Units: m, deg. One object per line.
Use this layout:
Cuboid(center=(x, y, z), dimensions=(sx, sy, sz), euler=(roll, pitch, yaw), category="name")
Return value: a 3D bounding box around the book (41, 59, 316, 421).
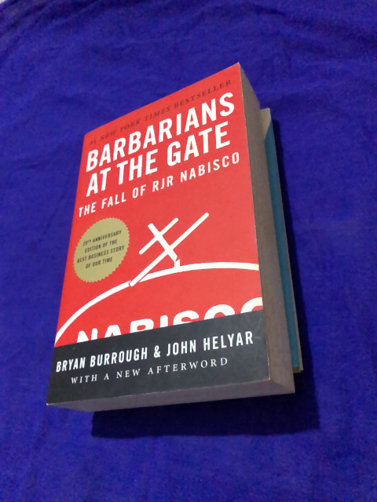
Cuboid(center=(-0.008, -0.008, 0.276), dimensions=(0.140, 0.050, 0.210), euler=(-14, 58, 25), category="book")
